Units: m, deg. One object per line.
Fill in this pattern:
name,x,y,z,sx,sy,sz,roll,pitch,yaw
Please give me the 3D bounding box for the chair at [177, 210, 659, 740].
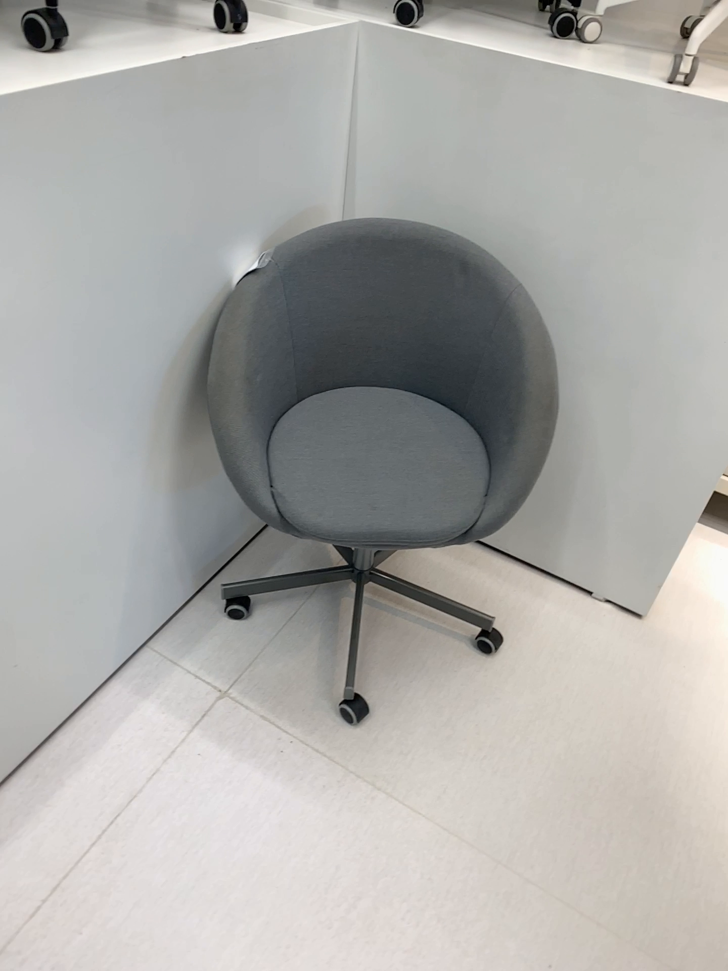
chair,0.001,-0.051,1.629,0.720,0.767,0.833,-1,41,-10
